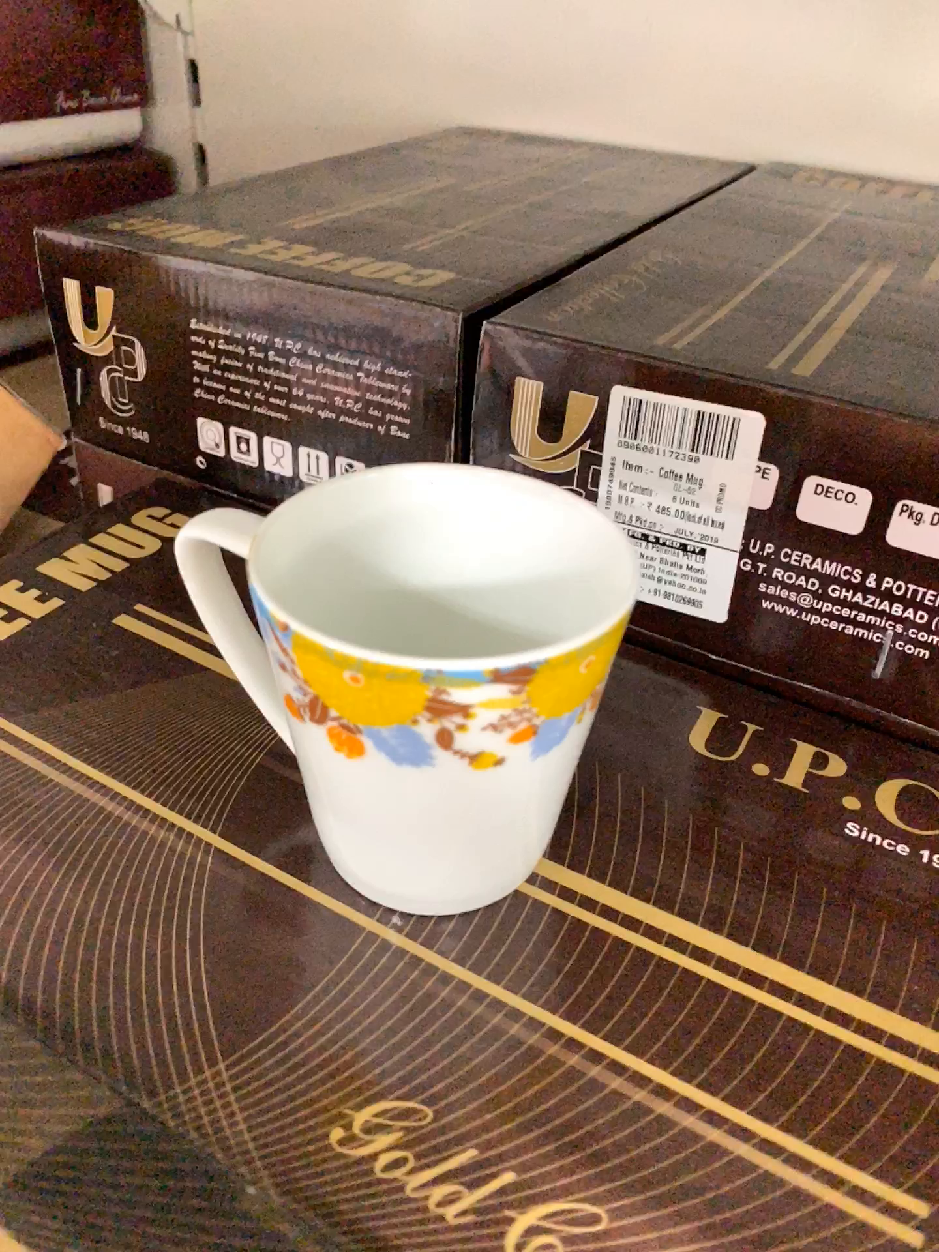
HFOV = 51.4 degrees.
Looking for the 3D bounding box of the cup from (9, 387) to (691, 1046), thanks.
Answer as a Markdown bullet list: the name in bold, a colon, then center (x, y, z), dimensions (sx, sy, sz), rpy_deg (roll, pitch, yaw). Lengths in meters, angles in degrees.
- **cup**: center (-0.019, 0.009, 0.184), dimensions (0.090, 0.069, 0.070), rpy_deg (20, 38, 23)
